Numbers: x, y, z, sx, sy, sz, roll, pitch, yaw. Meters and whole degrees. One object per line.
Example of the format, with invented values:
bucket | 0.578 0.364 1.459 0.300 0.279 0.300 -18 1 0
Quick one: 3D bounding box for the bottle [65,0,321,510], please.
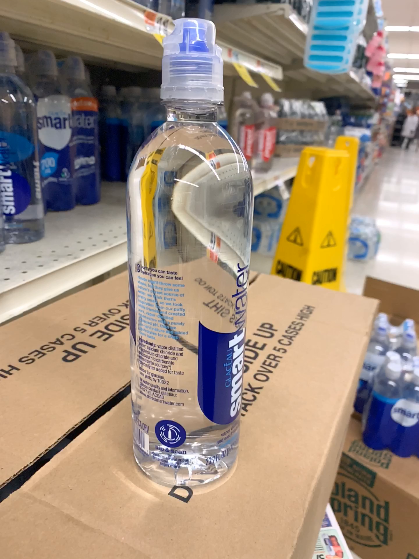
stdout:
bottle | -0.013 -0.011 0.255 0.090 0.249 0.090 4 21 -2
